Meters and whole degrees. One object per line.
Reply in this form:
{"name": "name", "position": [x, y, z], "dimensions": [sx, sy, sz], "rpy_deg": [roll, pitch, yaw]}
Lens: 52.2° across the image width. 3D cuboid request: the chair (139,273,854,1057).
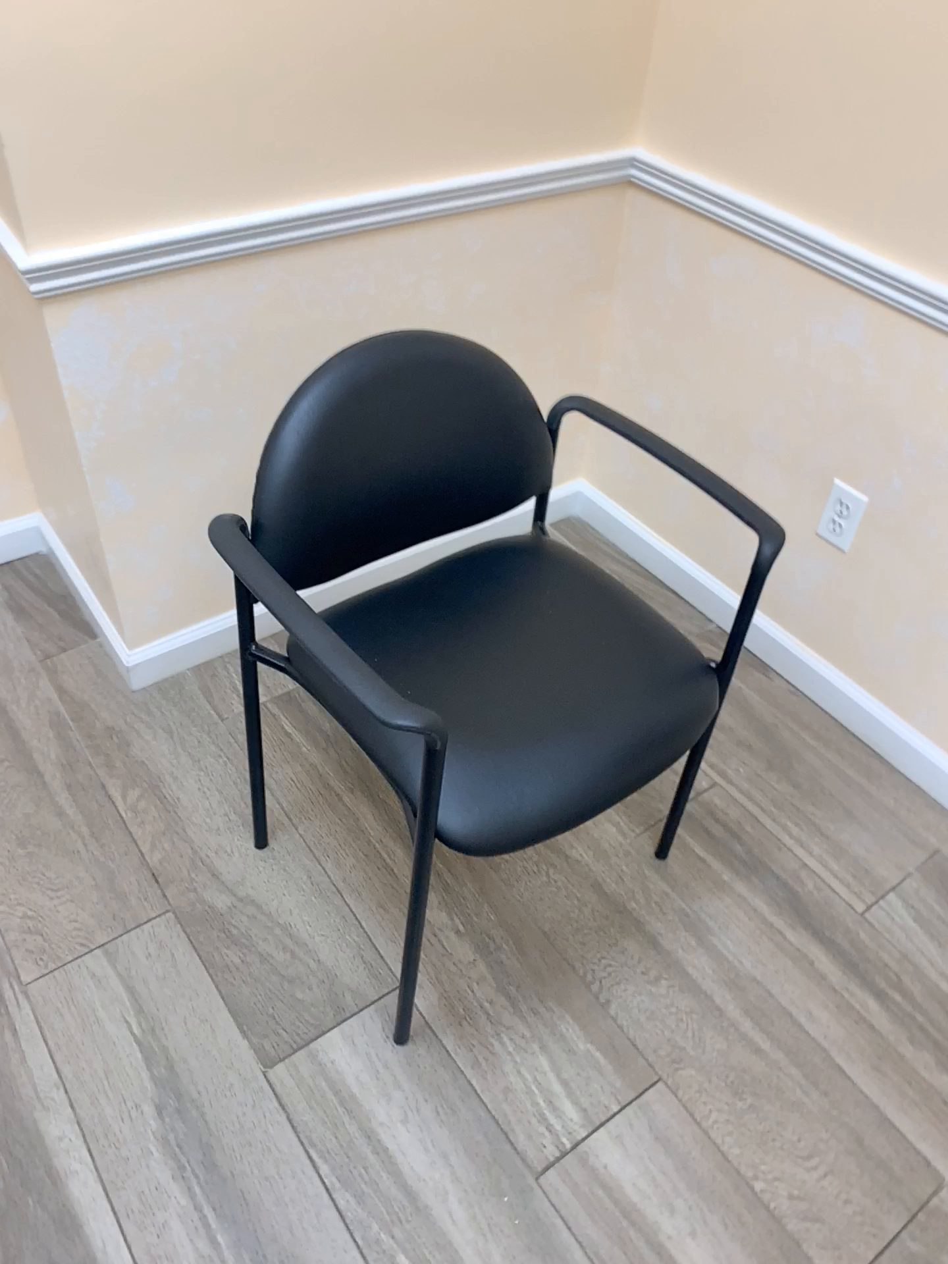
{"name": "chair", "position": [-0.002, 0.030, 1.289], "dimensions": [0.584, 0.726, 0.511], "rpy_deg": [-25, 51, -29]}
